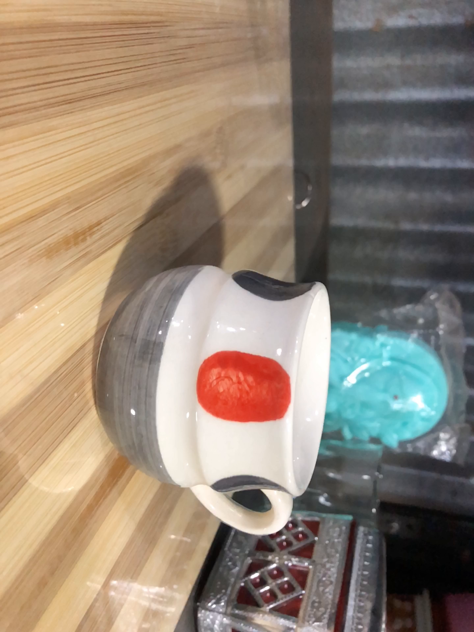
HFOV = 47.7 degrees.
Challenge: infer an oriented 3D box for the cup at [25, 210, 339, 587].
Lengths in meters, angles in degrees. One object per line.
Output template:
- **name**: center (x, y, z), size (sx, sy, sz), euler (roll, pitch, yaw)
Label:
- **cup**: center (-0.004, 0.024, 0.159), size (0.060, 0.060, 0.090), euler (-68, 157, -45)
